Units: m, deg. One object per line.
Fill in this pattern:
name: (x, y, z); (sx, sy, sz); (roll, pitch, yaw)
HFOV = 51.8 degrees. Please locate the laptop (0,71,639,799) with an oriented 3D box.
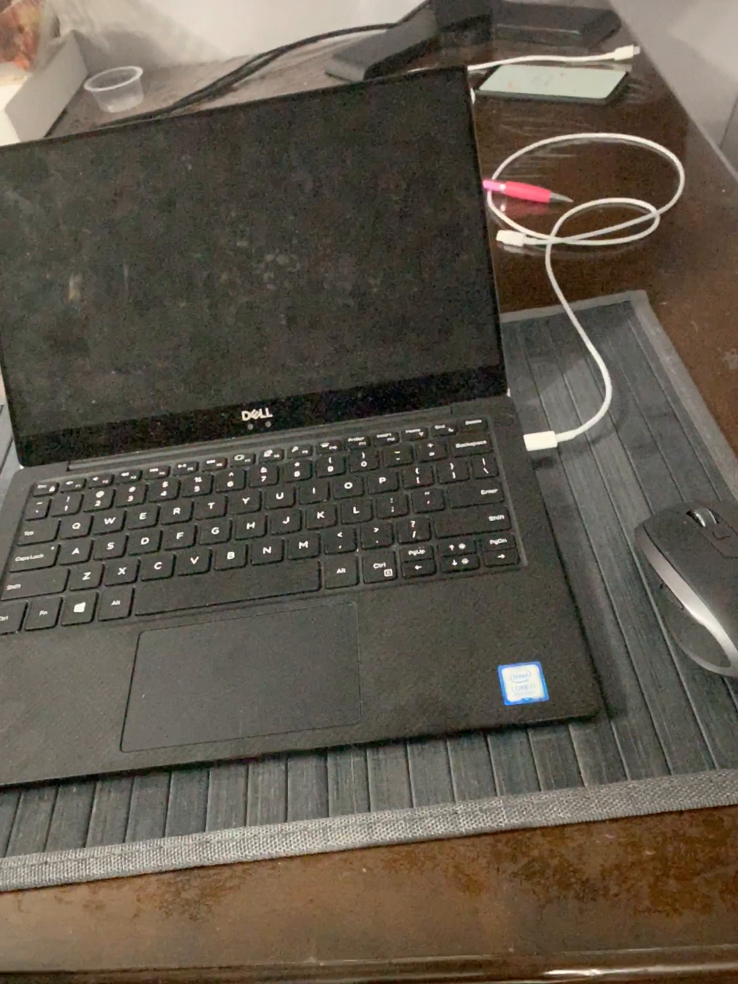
laptop: (-0.070, -0.049, 0.351); (0.281, 0.129, 0.299); (-8, 46, 4)
